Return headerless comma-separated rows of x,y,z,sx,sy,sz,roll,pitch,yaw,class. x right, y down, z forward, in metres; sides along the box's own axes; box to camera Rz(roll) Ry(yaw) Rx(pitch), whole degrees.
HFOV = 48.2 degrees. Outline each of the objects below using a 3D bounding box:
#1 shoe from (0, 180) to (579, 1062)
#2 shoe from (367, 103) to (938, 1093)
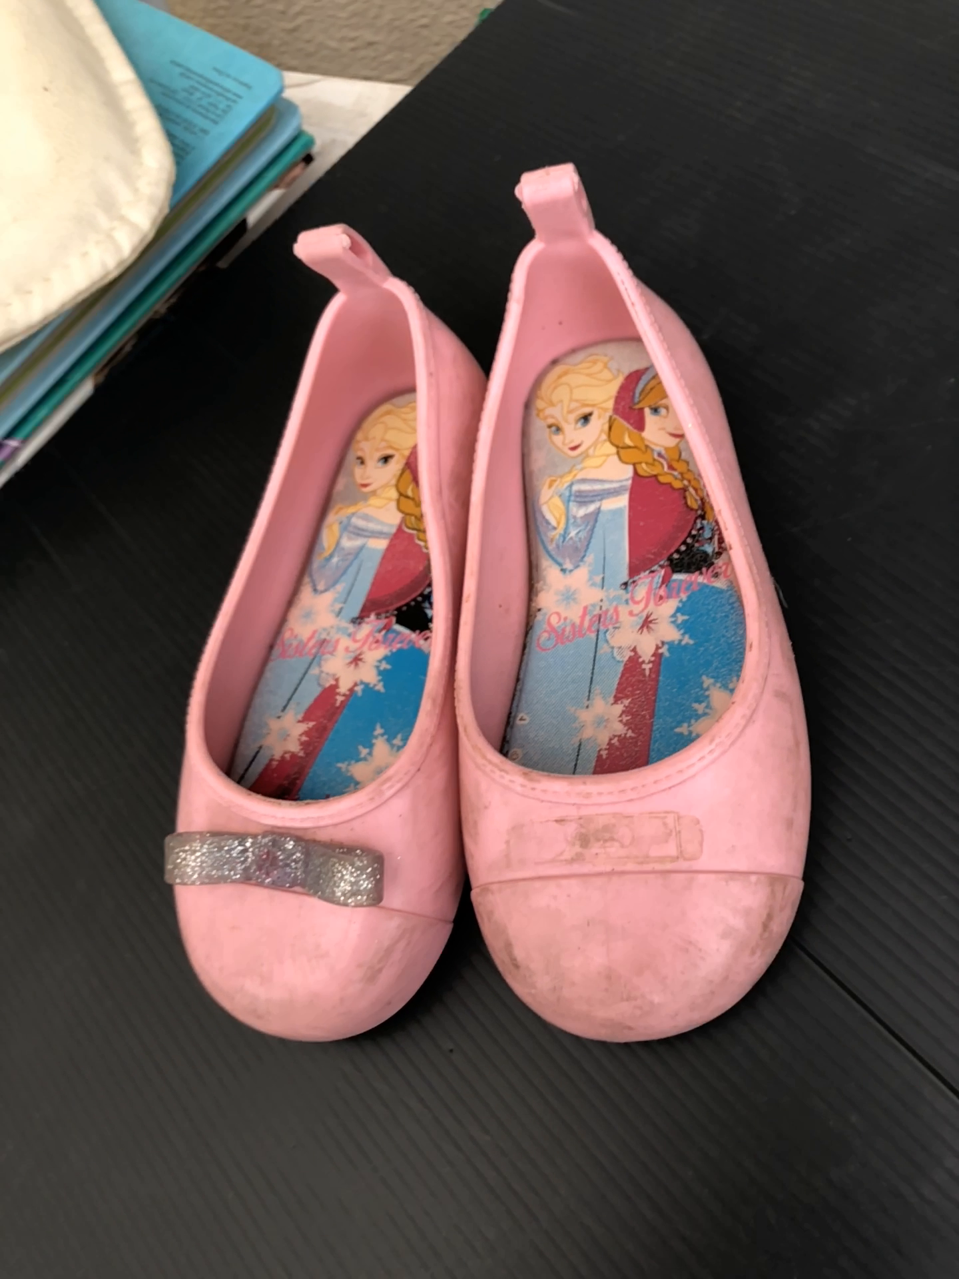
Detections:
-0.033,-0.004,0.227,0.077,0.070,0.160,3,72,18,shoe
0.033,-0.005,0.204,0.077,0.070,0.160,-3,70,16,shoe
